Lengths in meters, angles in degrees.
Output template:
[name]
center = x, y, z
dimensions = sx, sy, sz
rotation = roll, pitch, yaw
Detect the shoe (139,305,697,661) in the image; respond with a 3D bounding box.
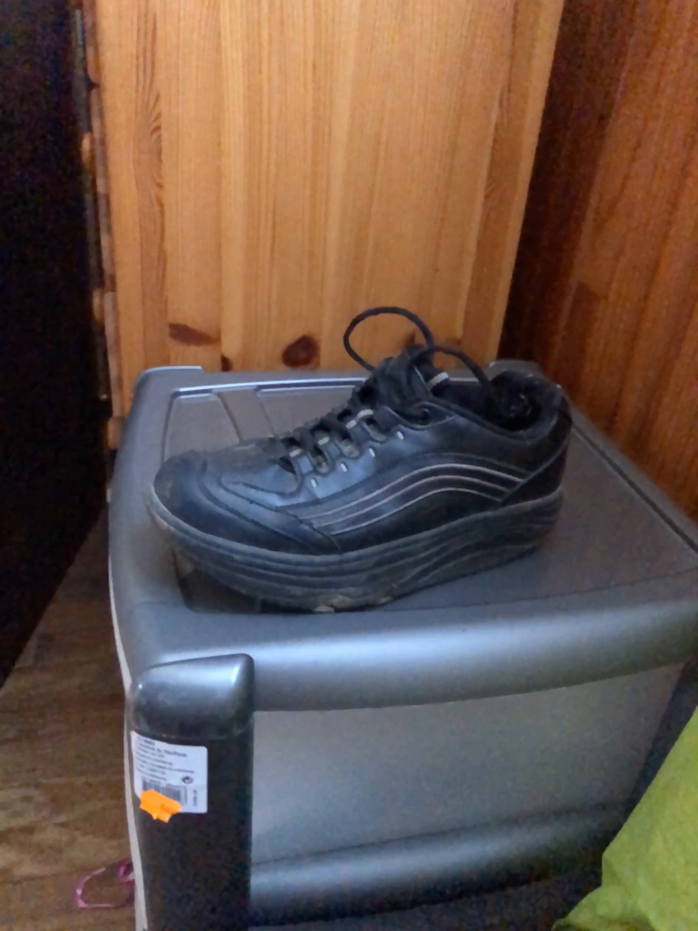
[shoe]
center = 0.031, -0.004, 0.432
dimensions = 0.271, 0.129, 0.110
rotation = -7, 33, -21
